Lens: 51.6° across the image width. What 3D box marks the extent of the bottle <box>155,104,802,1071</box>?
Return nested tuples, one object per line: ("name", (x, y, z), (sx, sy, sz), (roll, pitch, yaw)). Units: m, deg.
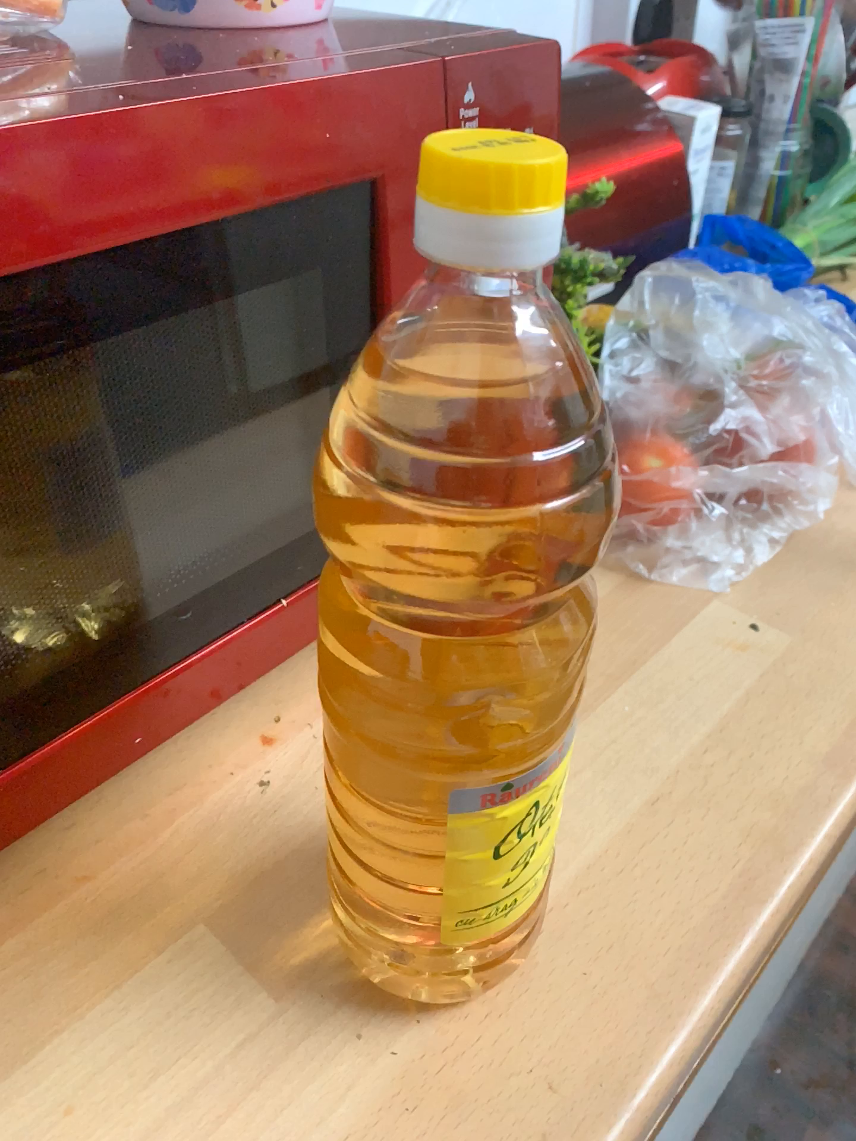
("bottle", (0.008, 0.015, 0.233), (0.090, 0.228, 0.080), (-28, 46, -33))
